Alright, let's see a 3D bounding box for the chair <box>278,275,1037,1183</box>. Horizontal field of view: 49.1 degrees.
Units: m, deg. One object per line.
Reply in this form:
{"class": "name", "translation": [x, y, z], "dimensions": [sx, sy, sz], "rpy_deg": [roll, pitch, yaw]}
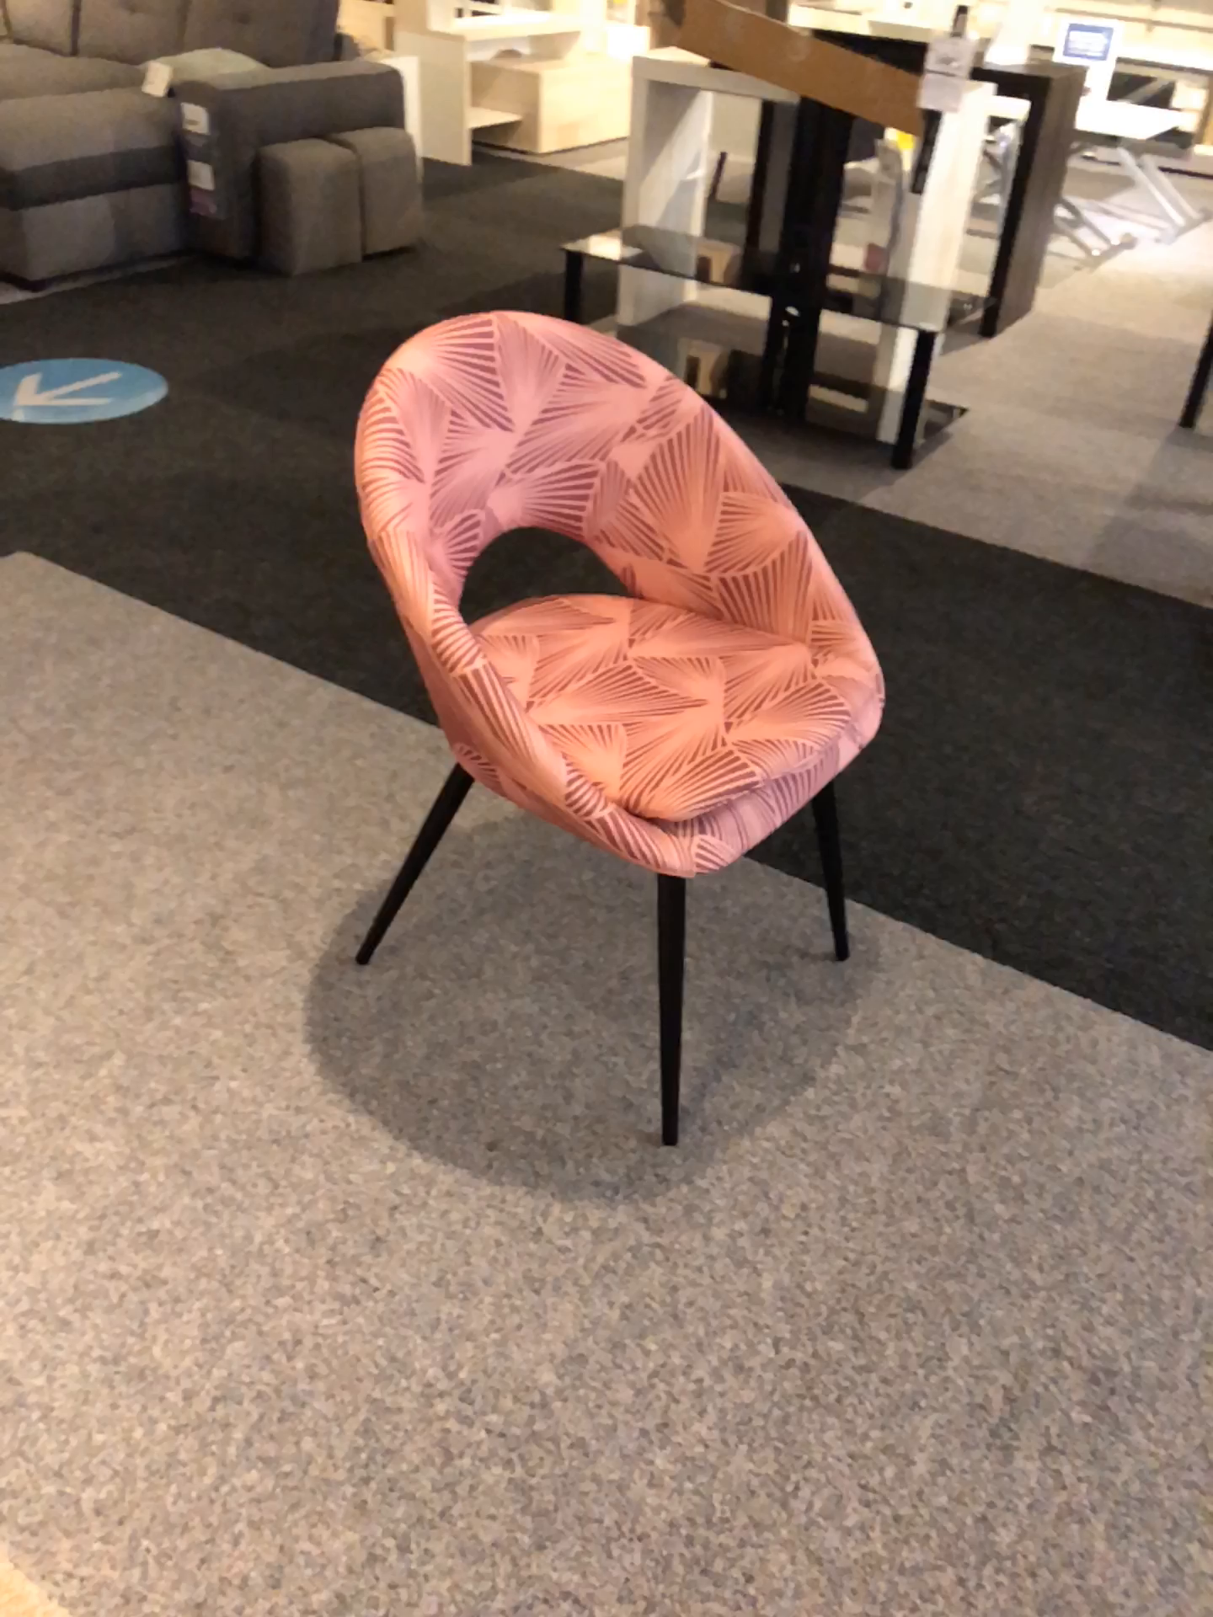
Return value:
{"class": "chair", "translation": [0.042, -0.127, 1.615], "dimensions": [0.600, 0.795, 0.534], "rpy_deg": [25, 40, 27]}
